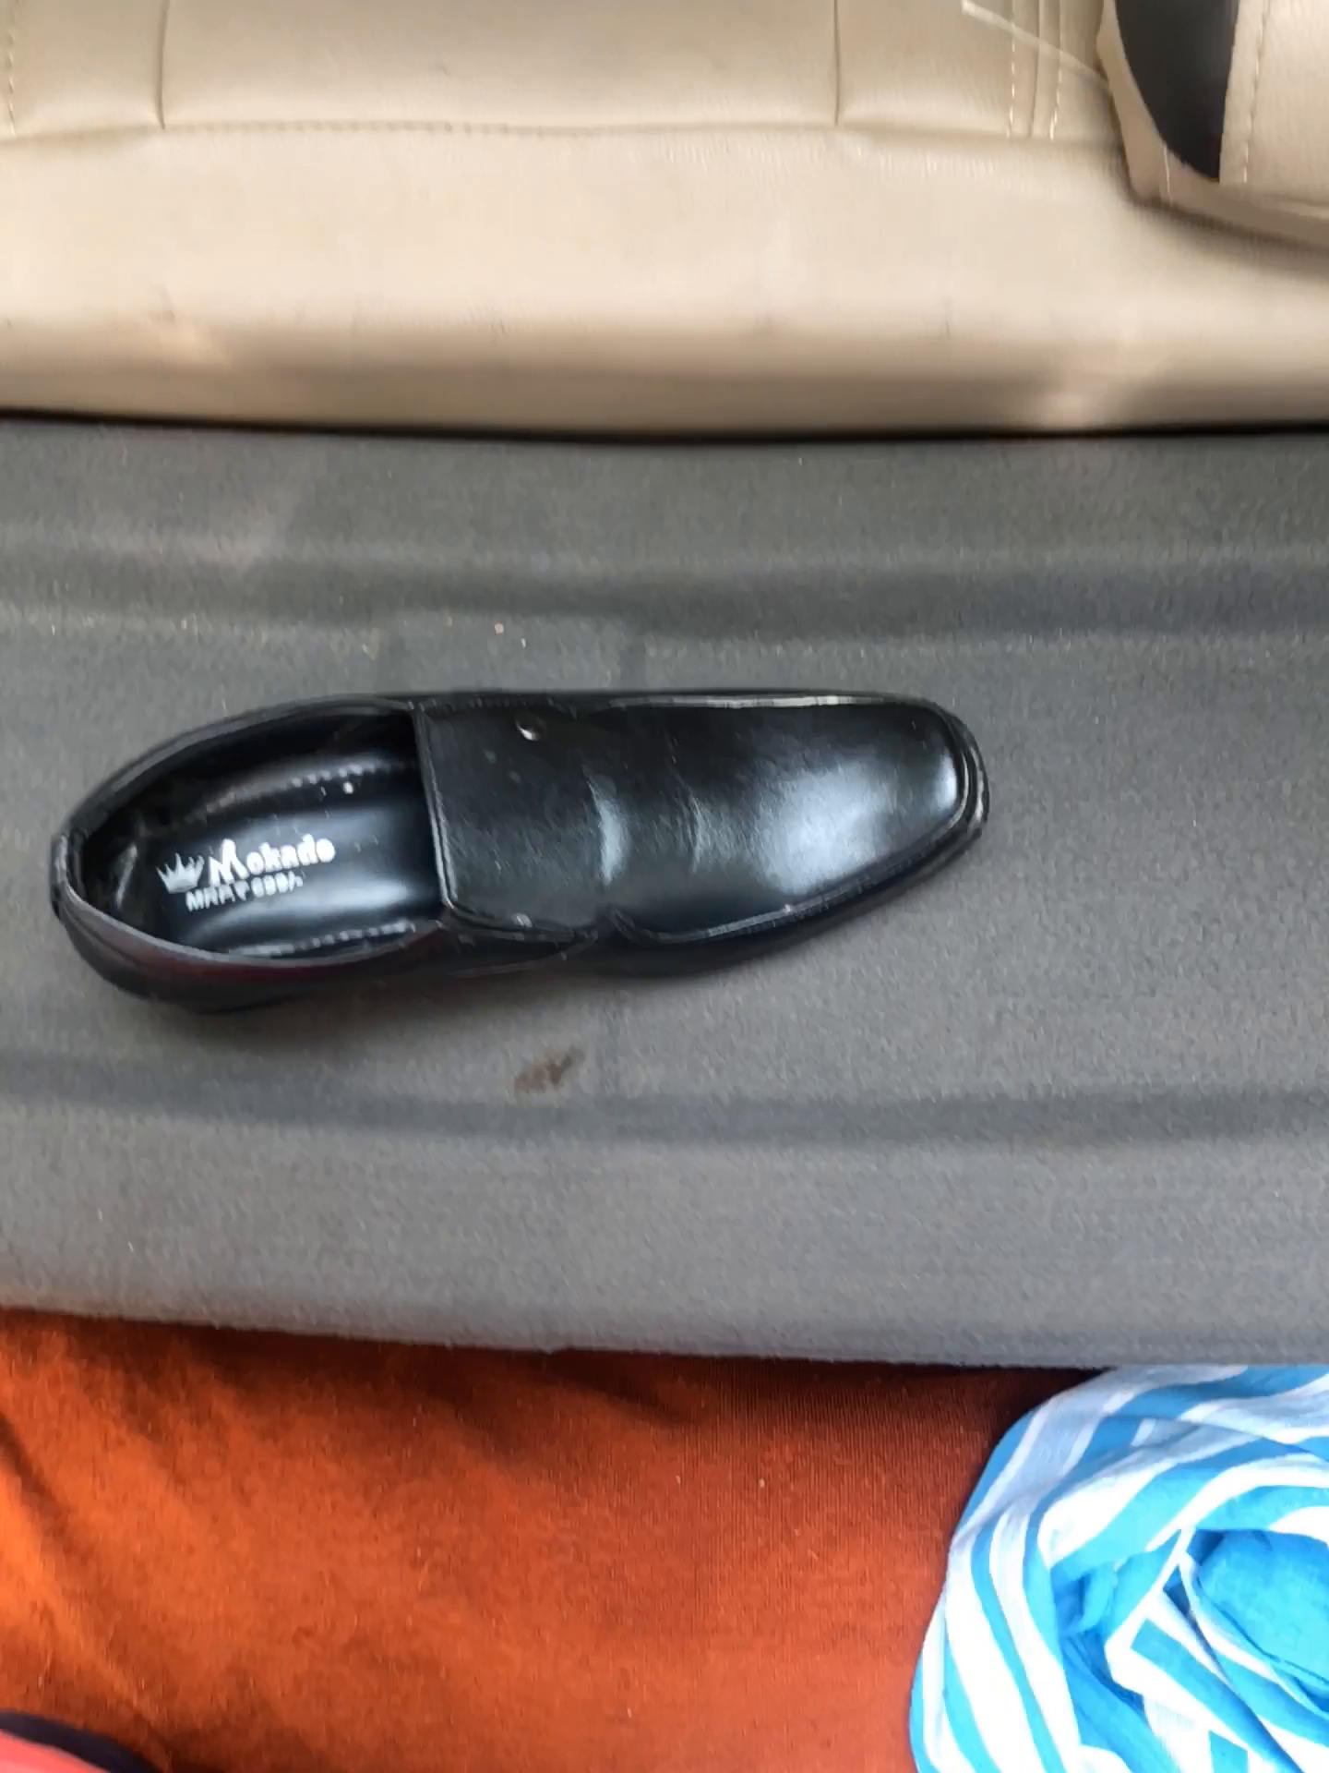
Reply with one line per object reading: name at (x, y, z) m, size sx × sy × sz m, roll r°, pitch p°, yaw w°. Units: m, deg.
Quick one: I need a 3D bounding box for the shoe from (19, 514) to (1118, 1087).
shoe at (-0.031, -0.023, 0.452) m, size 0.300 × 0.080 × 0.100 m, roll -11°, pitch 70°, yaw 0°
